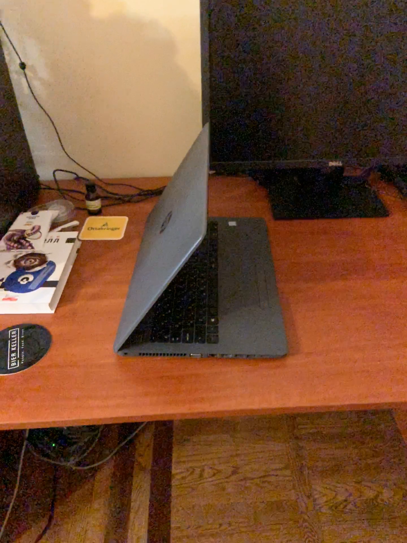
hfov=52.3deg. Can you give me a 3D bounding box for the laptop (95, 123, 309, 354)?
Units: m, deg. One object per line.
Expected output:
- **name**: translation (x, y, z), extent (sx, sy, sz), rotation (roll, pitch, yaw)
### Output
- **laptop**: translation (0.004, -0.080, 0.692), extent (0.248, 0.207, 0.377), rotation (1, 38, 2)
